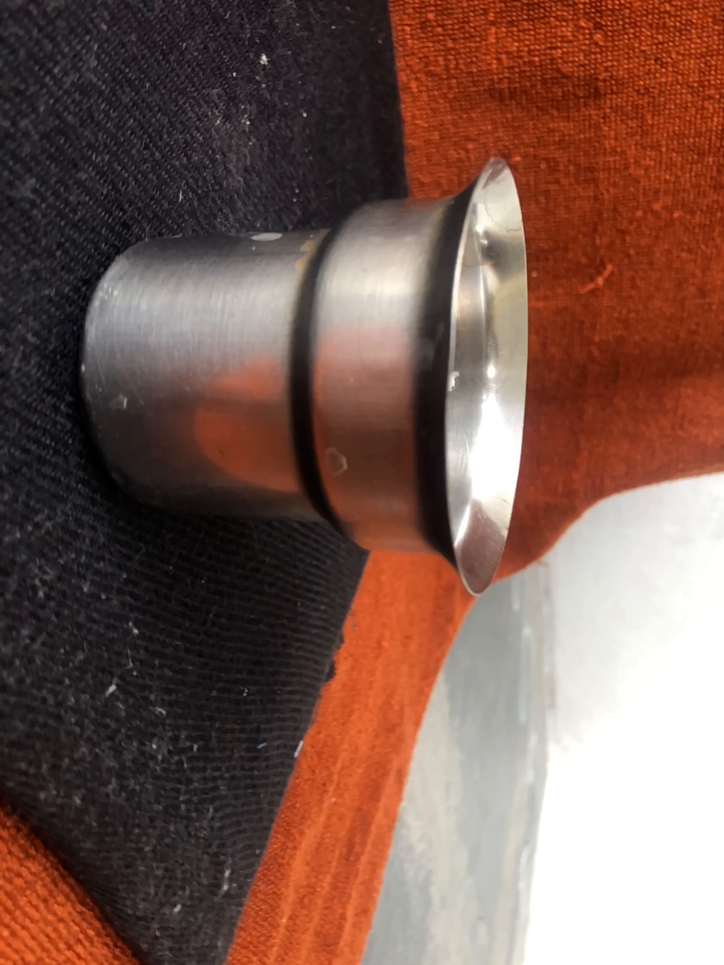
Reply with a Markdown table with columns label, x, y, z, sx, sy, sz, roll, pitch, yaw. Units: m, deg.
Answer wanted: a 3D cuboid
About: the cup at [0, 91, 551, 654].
| label | x | y | z | sx | sy | sz | roll | pitch | yaw |
| --- | --- | --- | --- | --- | --- | --- | --- | --- | --- |
| cup | -0.004 | -0.022 | 0.153 | 0.070 | 0.070 | 0.070 | 4 | 90 | -73 |
